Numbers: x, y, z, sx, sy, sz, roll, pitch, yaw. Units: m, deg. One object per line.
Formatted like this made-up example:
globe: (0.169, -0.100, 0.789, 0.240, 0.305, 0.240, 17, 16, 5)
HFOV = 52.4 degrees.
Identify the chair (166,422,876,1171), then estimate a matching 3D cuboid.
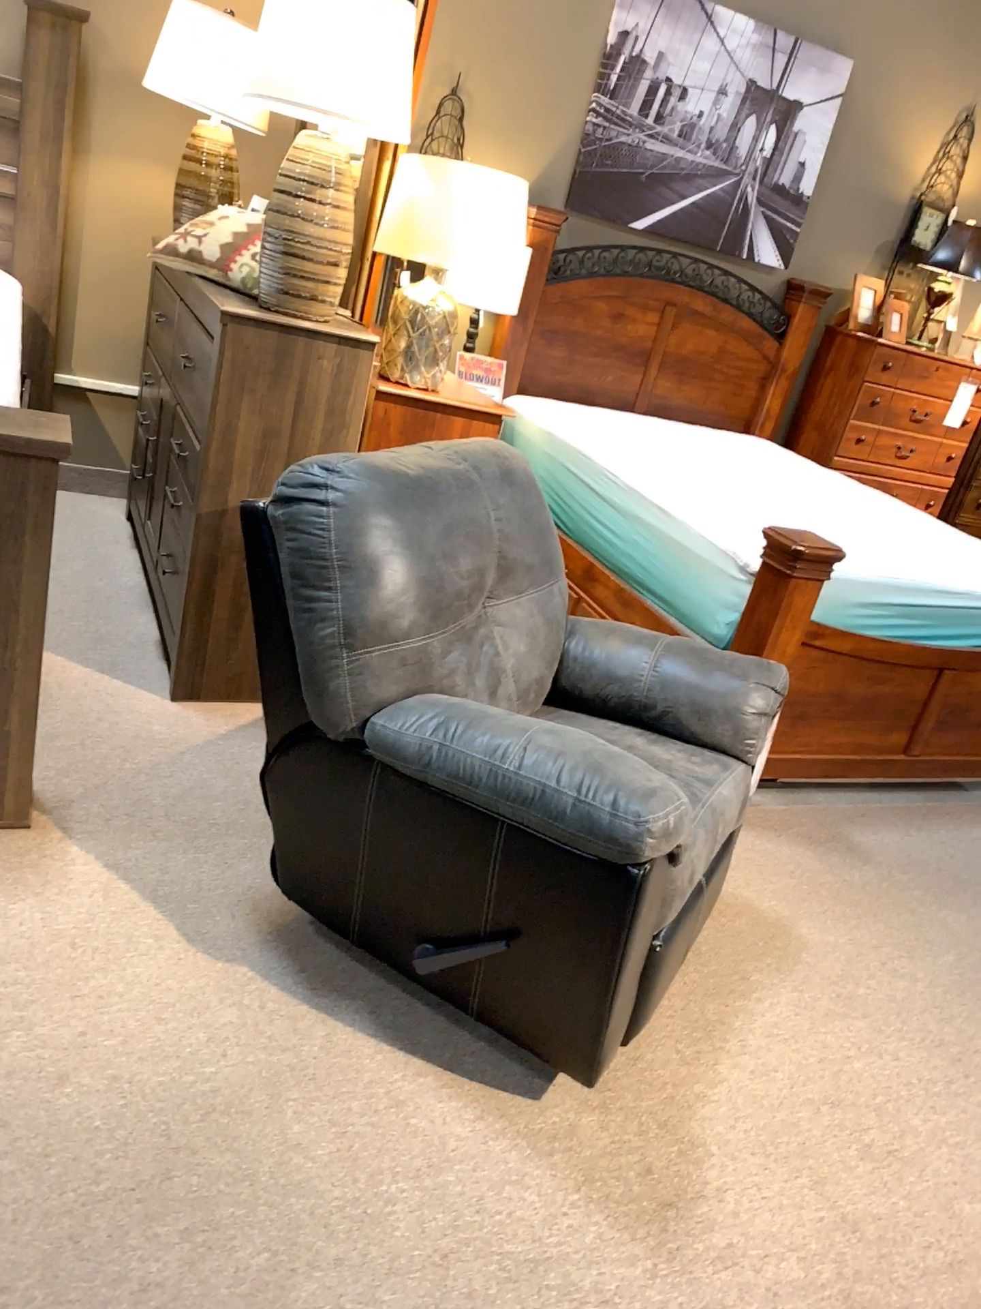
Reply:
chair: (0.093, 0.137, 2.044, 0.905, 0.923, 0.992, 25, 24, 21)
